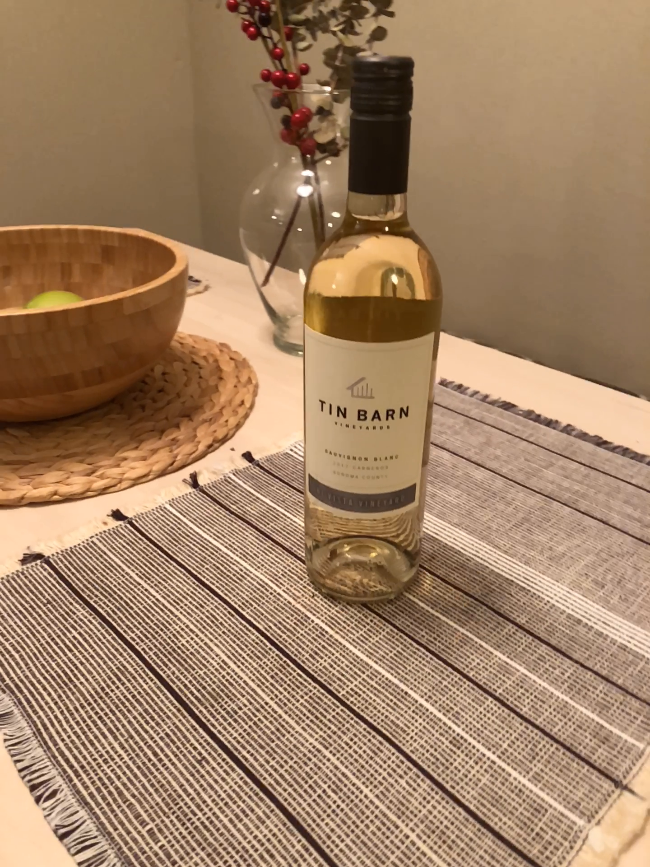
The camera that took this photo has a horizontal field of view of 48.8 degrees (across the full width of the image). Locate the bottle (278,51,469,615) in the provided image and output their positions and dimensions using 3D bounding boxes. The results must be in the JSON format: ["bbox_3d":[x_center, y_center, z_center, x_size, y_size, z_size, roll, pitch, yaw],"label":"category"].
[{"bbox_3d":[0.024,-0.045,0.403,0.080,0.298,0.081,1,27,0],"label":"bottle"}]
